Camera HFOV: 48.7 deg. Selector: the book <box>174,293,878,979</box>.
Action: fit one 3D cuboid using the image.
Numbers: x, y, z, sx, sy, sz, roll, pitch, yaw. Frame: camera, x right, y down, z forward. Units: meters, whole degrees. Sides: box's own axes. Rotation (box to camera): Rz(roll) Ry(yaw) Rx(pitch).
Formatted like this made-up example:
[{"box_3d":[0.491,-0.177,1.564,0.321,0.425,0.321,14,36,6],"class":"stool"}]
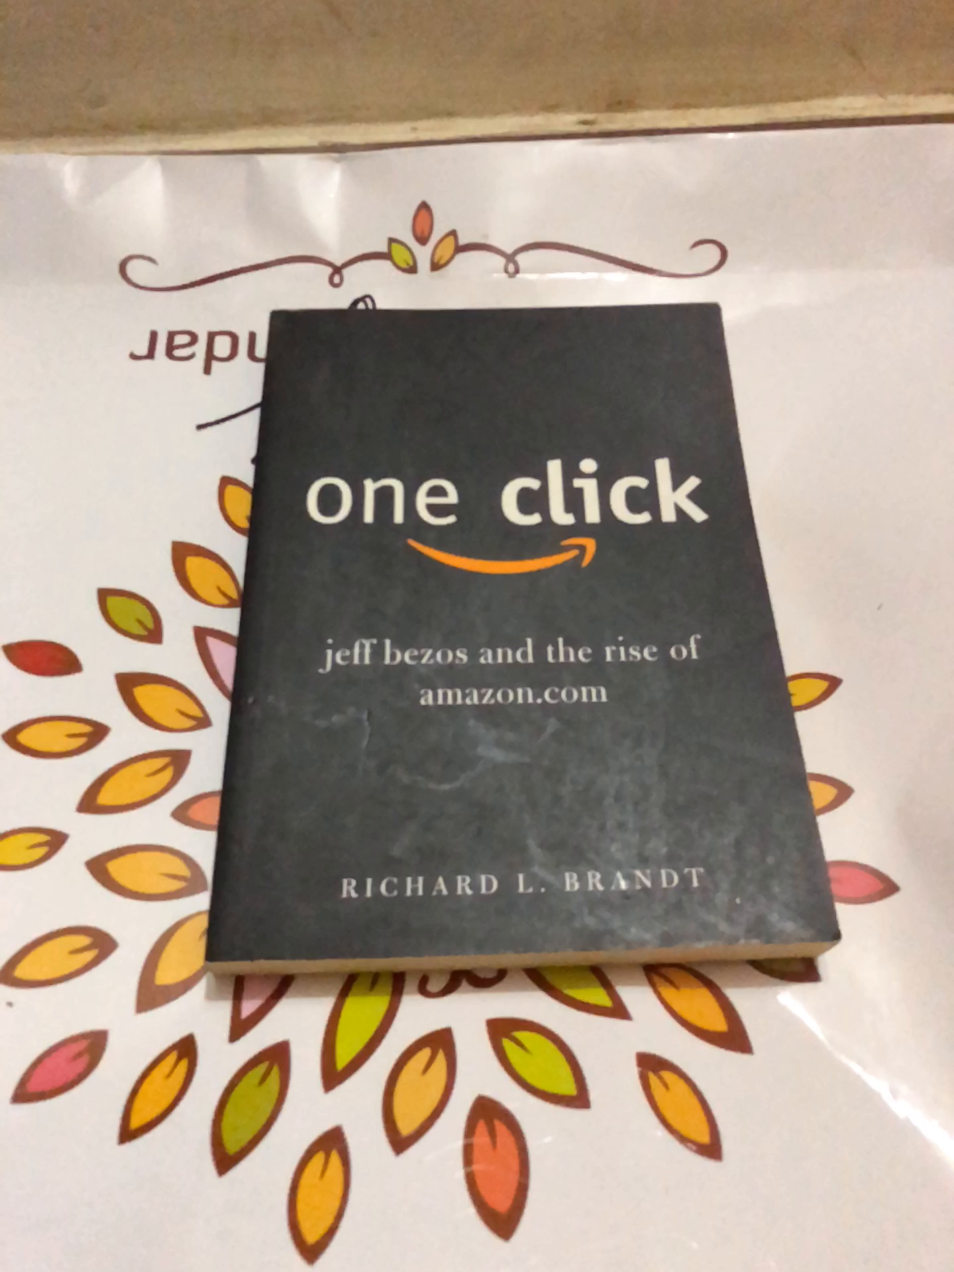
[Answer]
[{"box_3d":[0.011,-0.016,0.308,0.160,0.020,0.221,-1,57,2],"class":"book"}]
